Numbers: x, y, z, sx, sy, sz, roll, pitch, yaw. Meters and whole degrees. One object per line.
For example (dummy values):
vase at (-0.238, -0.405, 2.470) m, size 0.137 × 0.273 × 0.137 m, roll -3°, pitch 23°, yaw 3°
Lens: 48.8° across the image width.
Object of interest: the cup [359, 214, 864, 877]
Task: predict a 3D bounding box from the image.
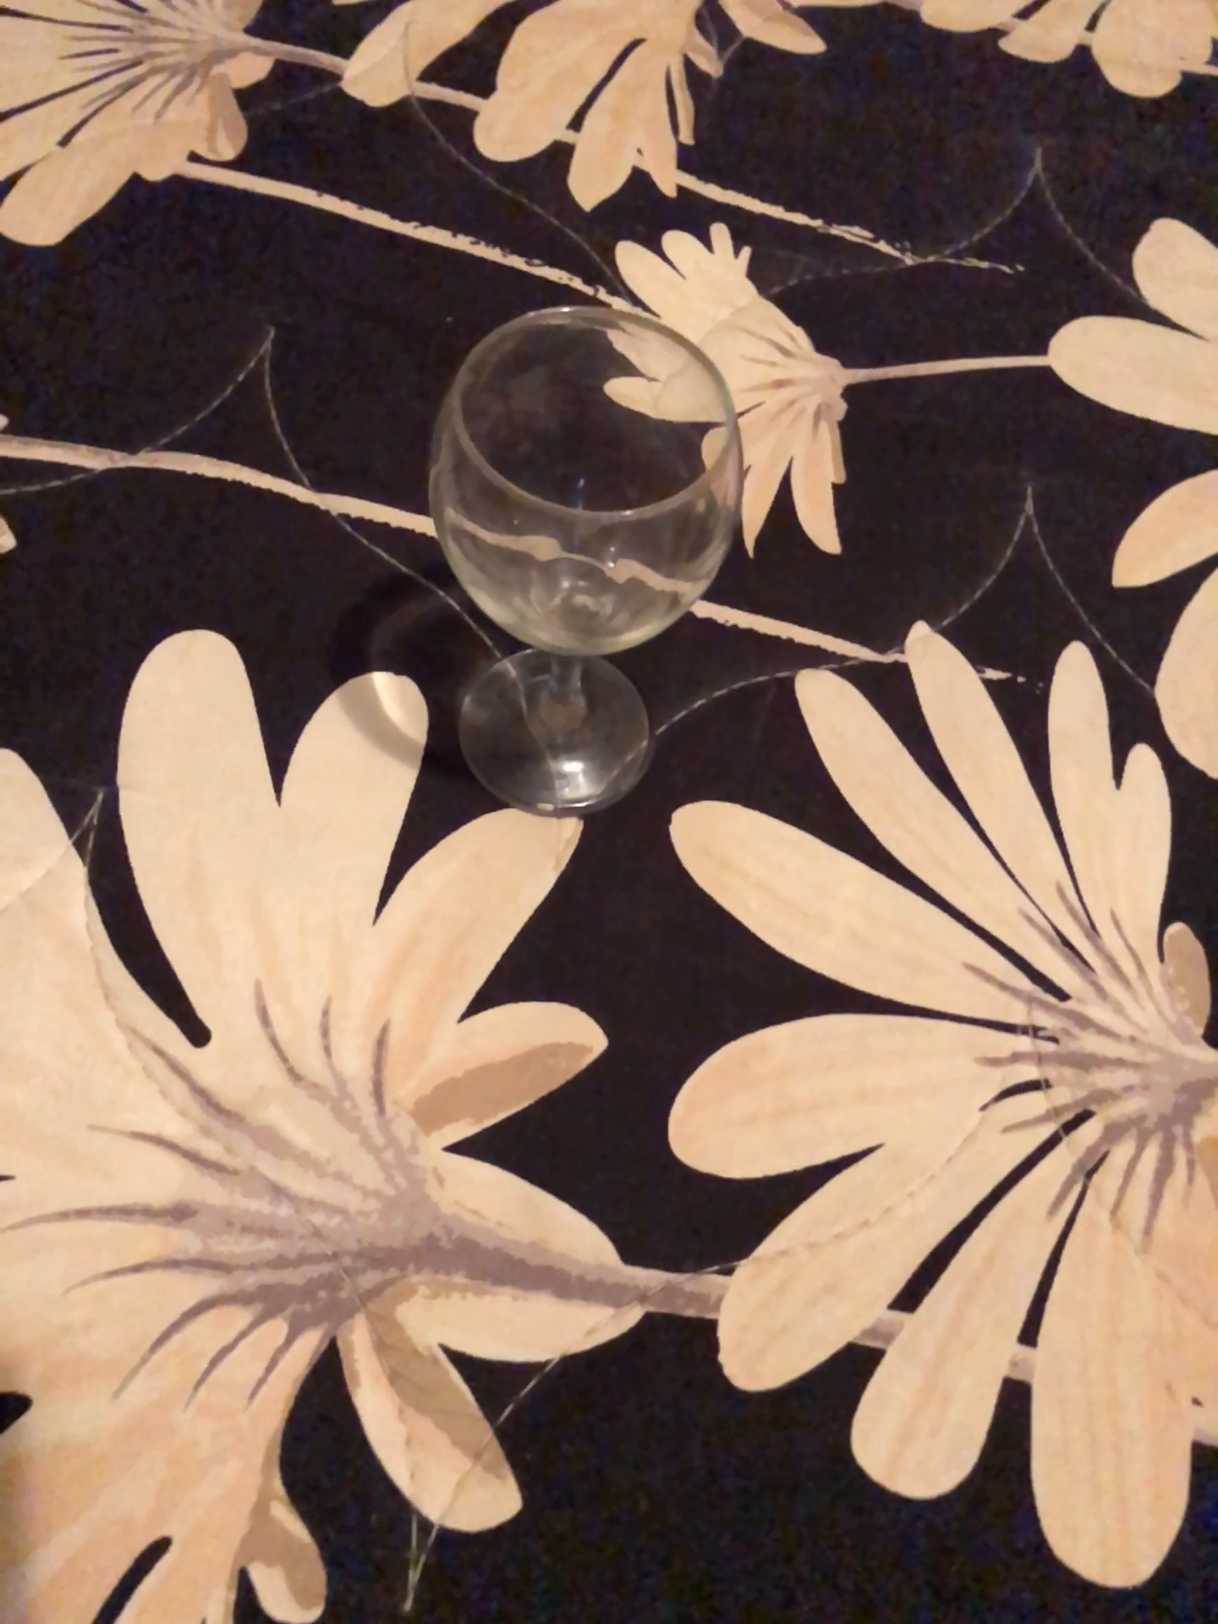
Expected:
cup at (-0.006, -0.064, 0.367) m, size 0.082 × 0.139 × 0.084 m, roll 3°, pitch 63°, yaw -6°
